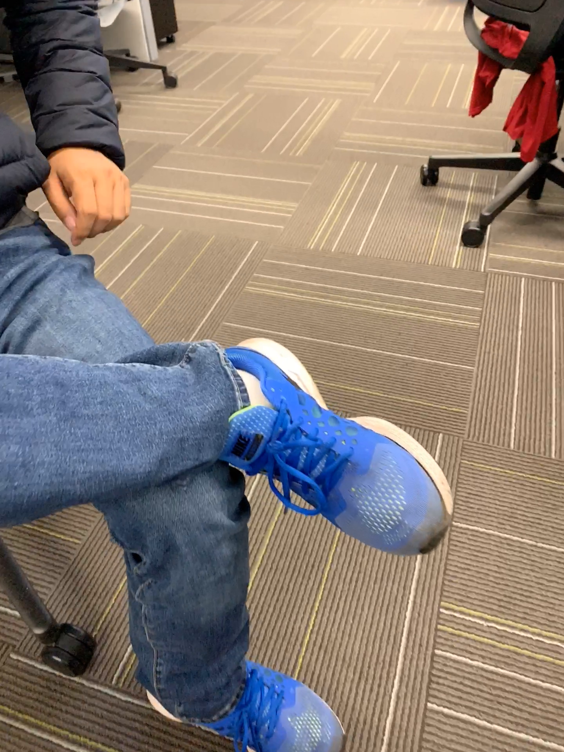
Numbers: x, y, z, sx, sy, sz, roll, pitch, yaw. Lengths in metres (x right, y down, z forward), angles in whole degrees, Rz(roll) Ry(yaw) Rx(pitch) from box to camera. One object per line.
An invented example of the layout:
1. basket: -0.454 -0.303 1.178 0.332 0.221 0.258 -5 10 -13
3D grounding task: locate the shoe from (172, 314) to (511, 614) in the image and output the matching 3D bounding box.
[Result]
1. shoe: 0.036 0.056 0.524 0.276 0.117 0.103 32 29 33

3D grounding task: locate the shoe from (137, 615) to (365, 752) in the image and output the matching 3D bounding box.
1. shoe: -0.040 0.442 0.793 0.284 0.086 0.101 13 45 17
